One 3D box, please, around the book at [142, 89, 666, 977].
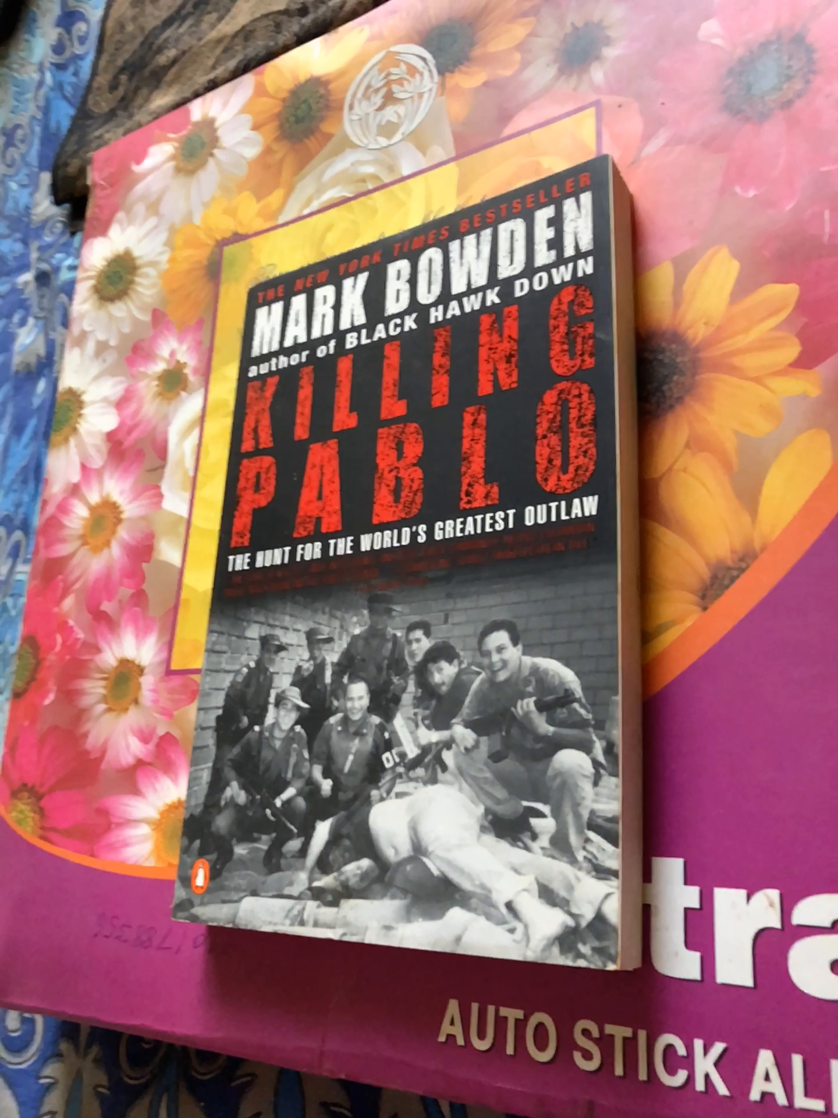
[{"bbox_3d":[-0.005,-0.009,0.282,0.150,0.030,0.230,-10,66,36],"label":"book"}]
